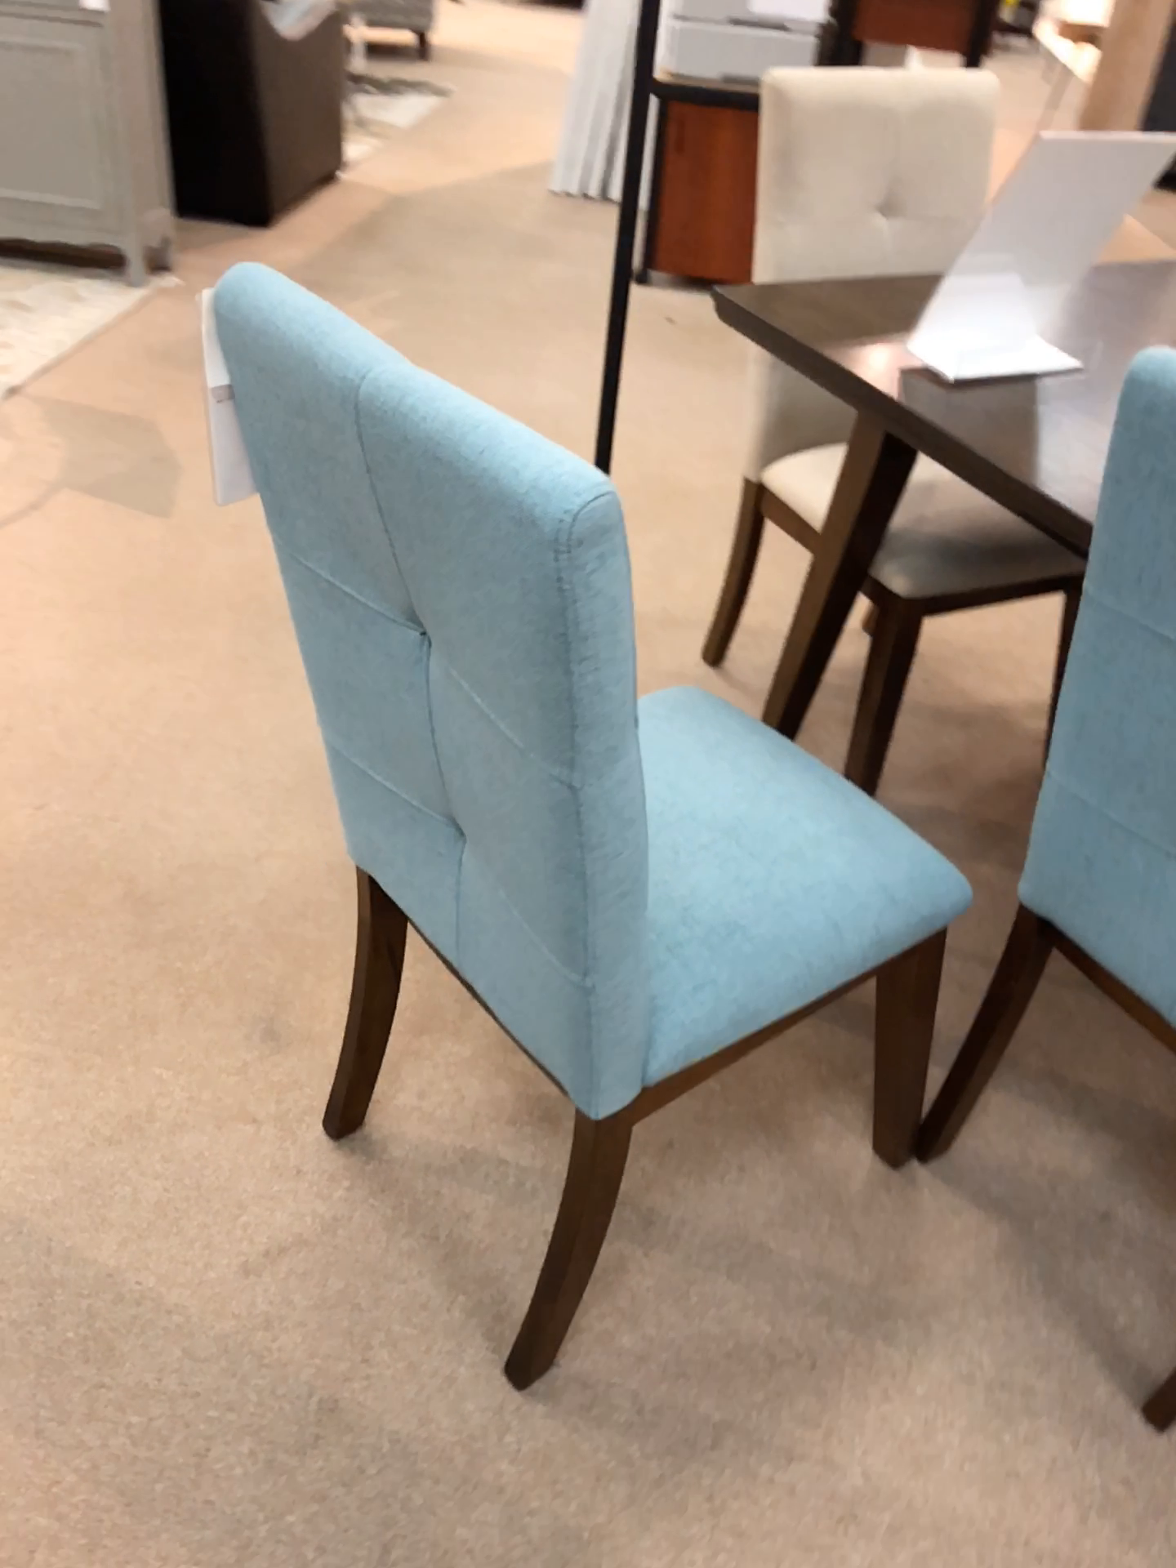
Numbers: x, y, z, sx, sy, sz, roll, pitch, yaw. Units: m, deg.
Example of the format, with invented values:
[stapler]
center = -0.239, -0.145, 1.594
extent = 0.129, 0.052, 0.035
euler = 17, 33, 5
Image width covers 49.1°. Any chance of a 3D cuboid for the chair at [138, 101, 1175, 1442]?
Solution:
[chair]
center = 0.059, -0.019, 1.224
extent = 0.622, 0.993, 0.542
euler = -23, 46, -30
